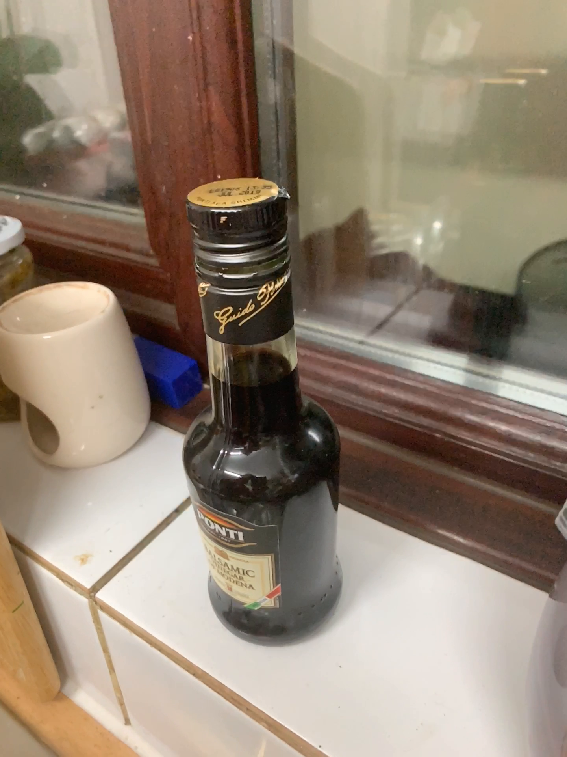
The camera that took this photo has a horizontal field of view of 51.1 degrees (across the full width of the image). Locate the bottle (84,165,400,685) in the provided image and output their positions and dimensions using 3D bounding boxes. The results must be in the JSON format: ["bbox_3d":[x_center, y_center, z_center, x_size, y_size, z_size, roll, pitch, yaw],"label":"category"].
[{"bbox_3d":[-0.007,0.020,0.231,0.070,0.178,0.070,-2,32,1],"label":"bottle"}]
